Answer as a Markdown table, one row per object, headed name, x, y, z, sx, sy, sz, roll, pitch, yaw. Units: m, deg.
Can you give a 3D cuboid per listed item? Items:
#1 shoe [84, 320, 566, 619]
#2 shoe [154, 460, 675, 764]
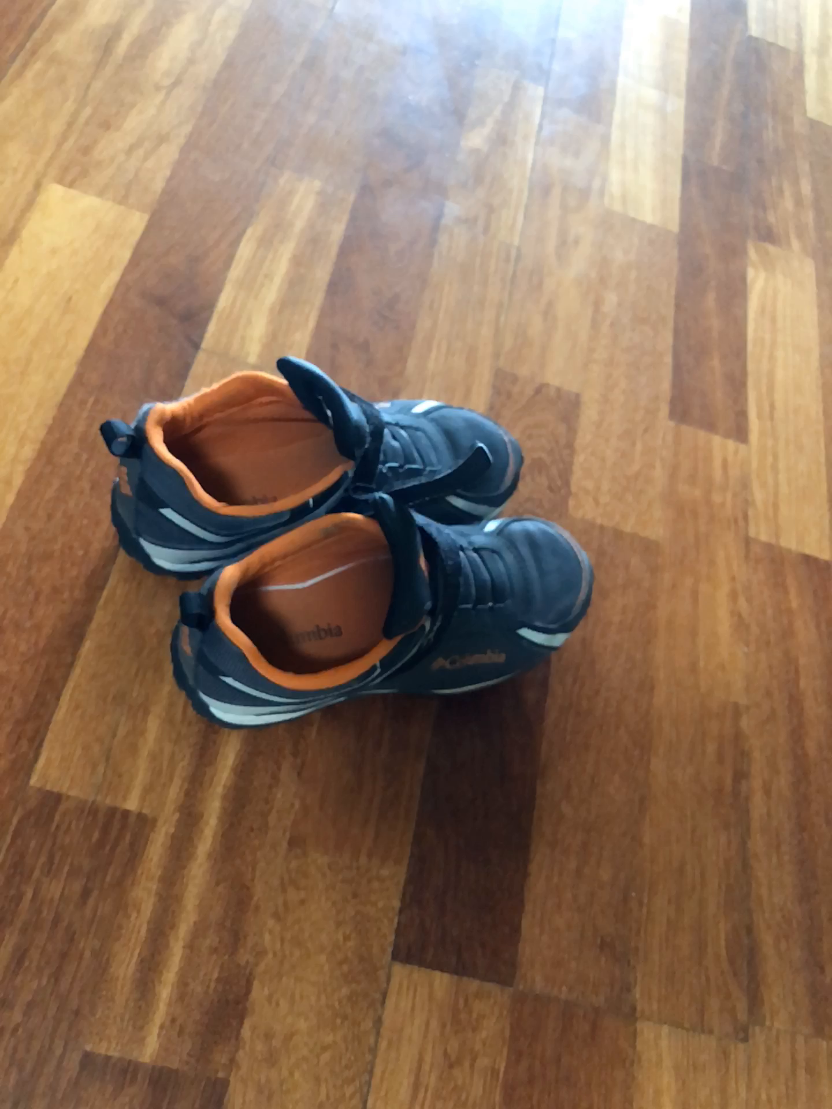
| name | x | y | z | sx | sy | sz | roll | pitch | yaw |
| --- | --- | --- | --- | --- | --- | --- | --- | --- | --- |
| shoe | -0.061 | -0.054 | 0.564 | 0.252 | 0.126 | 0.112 | -7 | 66 | -19 |
| shoe | -0.007 | 0.028 | 0.495 | 0.247 | 0.102 | 0.097 | -7 | 66 | -19 |
